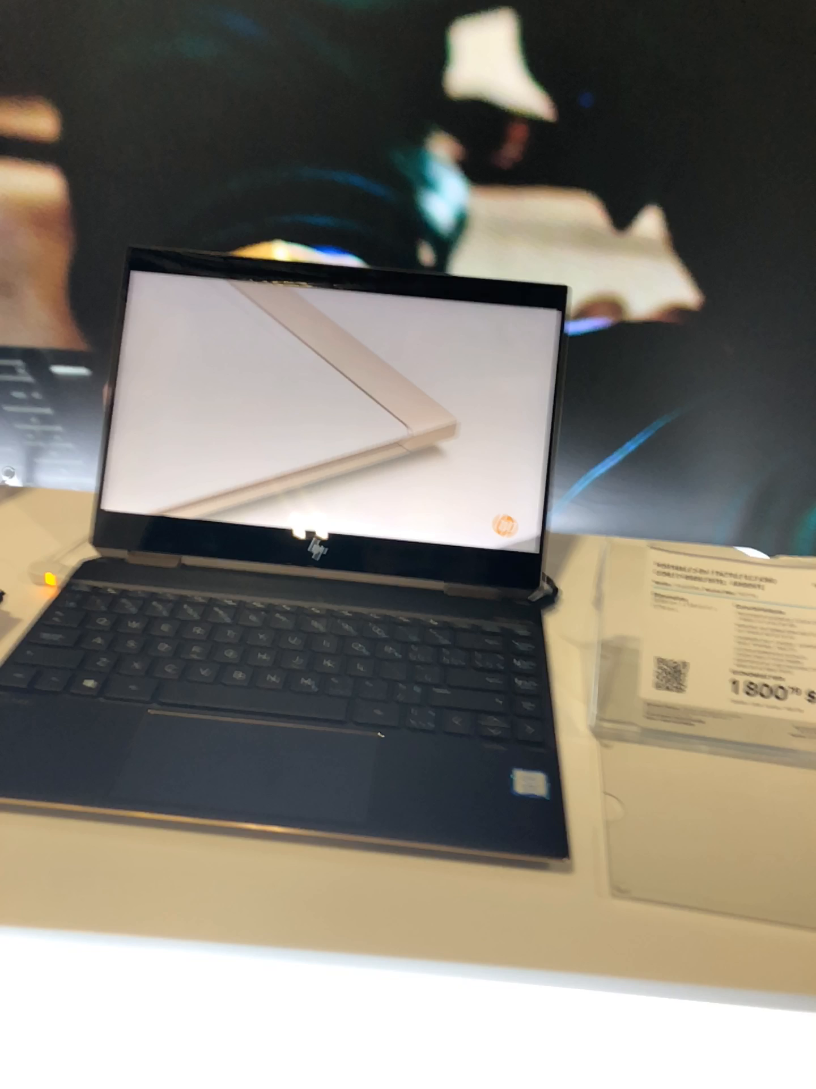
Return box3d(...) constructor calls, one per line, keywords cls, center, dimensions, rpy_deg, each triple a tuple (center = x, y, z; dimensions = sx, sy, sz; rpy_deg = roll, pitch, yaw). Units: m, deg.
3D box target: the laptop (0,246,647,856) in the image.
box3d(cls="laptop", center=(-0.059, -0.035, 0.511), dimensions=(0.305, 0.172, 0.347), rpy_deg=(5, 29, 2))
